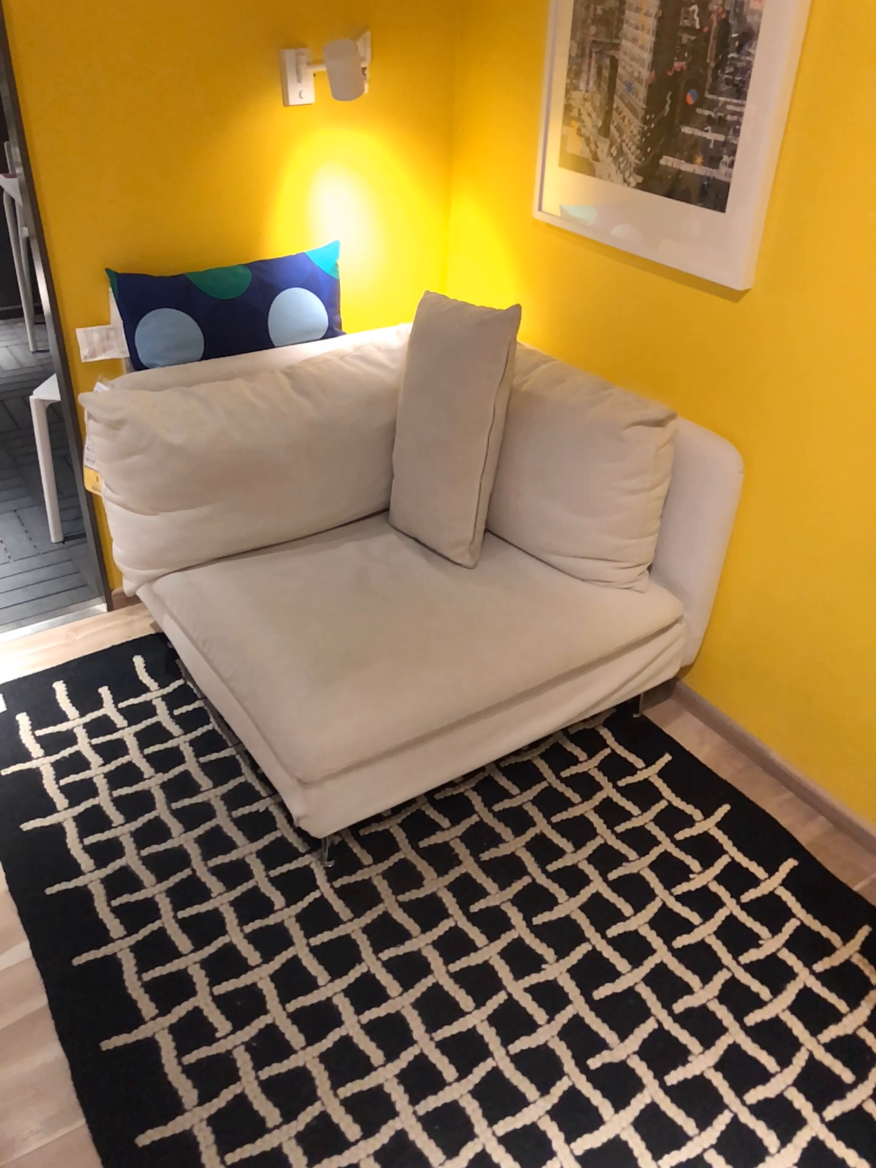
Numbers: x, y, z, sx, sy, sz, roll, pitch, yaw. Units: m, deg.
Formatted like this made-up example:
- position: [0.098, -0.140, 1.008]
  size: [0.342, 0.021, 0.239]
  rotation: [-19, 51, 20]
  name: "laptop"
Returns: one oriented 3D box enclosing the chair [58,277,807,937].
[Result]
- position: [-0.056, -0.092, 2.099]
  size: [1.112, 0.755, 1.015]
  rotation: [-18, 38, -28]
  name: "chair"
